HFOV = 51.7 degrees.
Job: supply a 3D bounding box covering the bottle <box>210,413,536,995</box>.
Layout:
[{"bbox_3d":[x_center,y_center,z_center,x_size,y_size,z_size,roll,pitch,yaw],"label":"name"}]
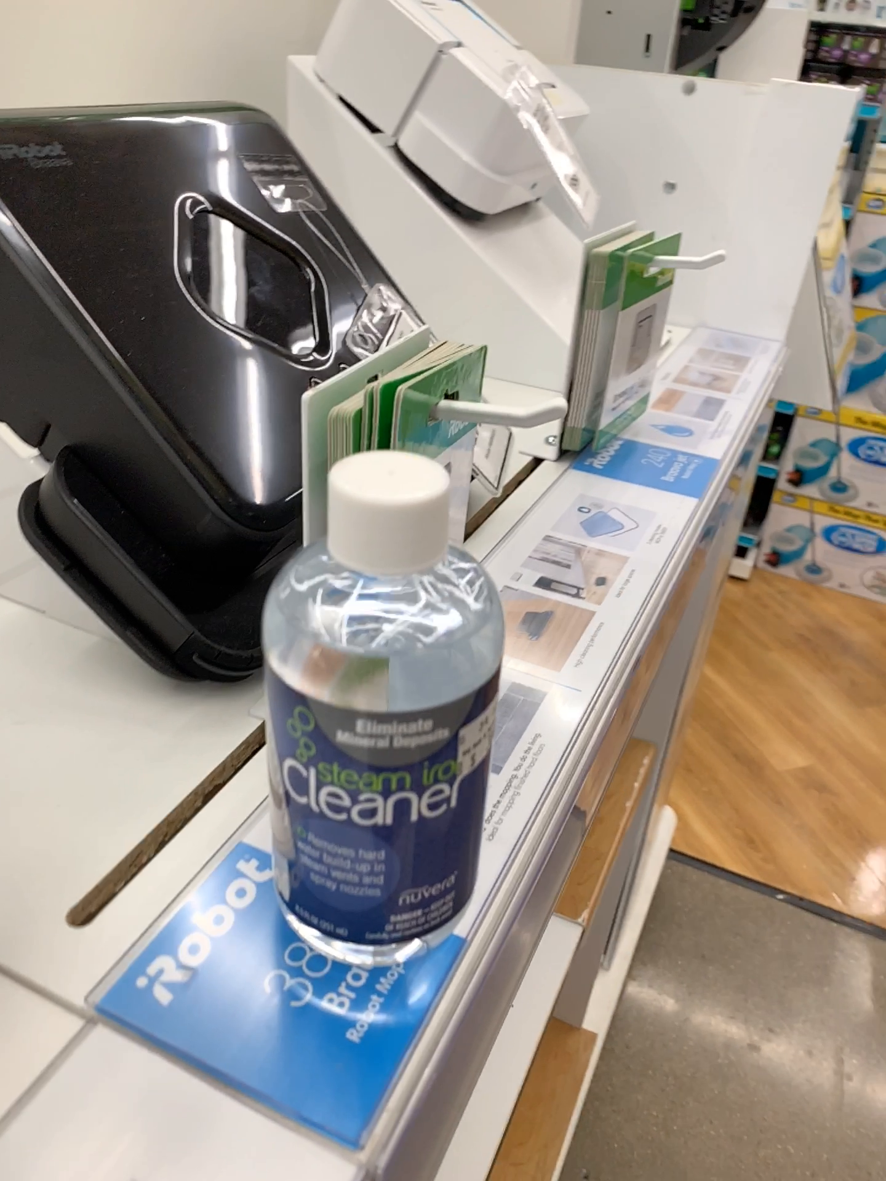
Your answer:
[{"bbox_3d":[-0.018,0.031,0.227,0.060,0.129,0.060,4,31,-2],"label":"bottle"}]
